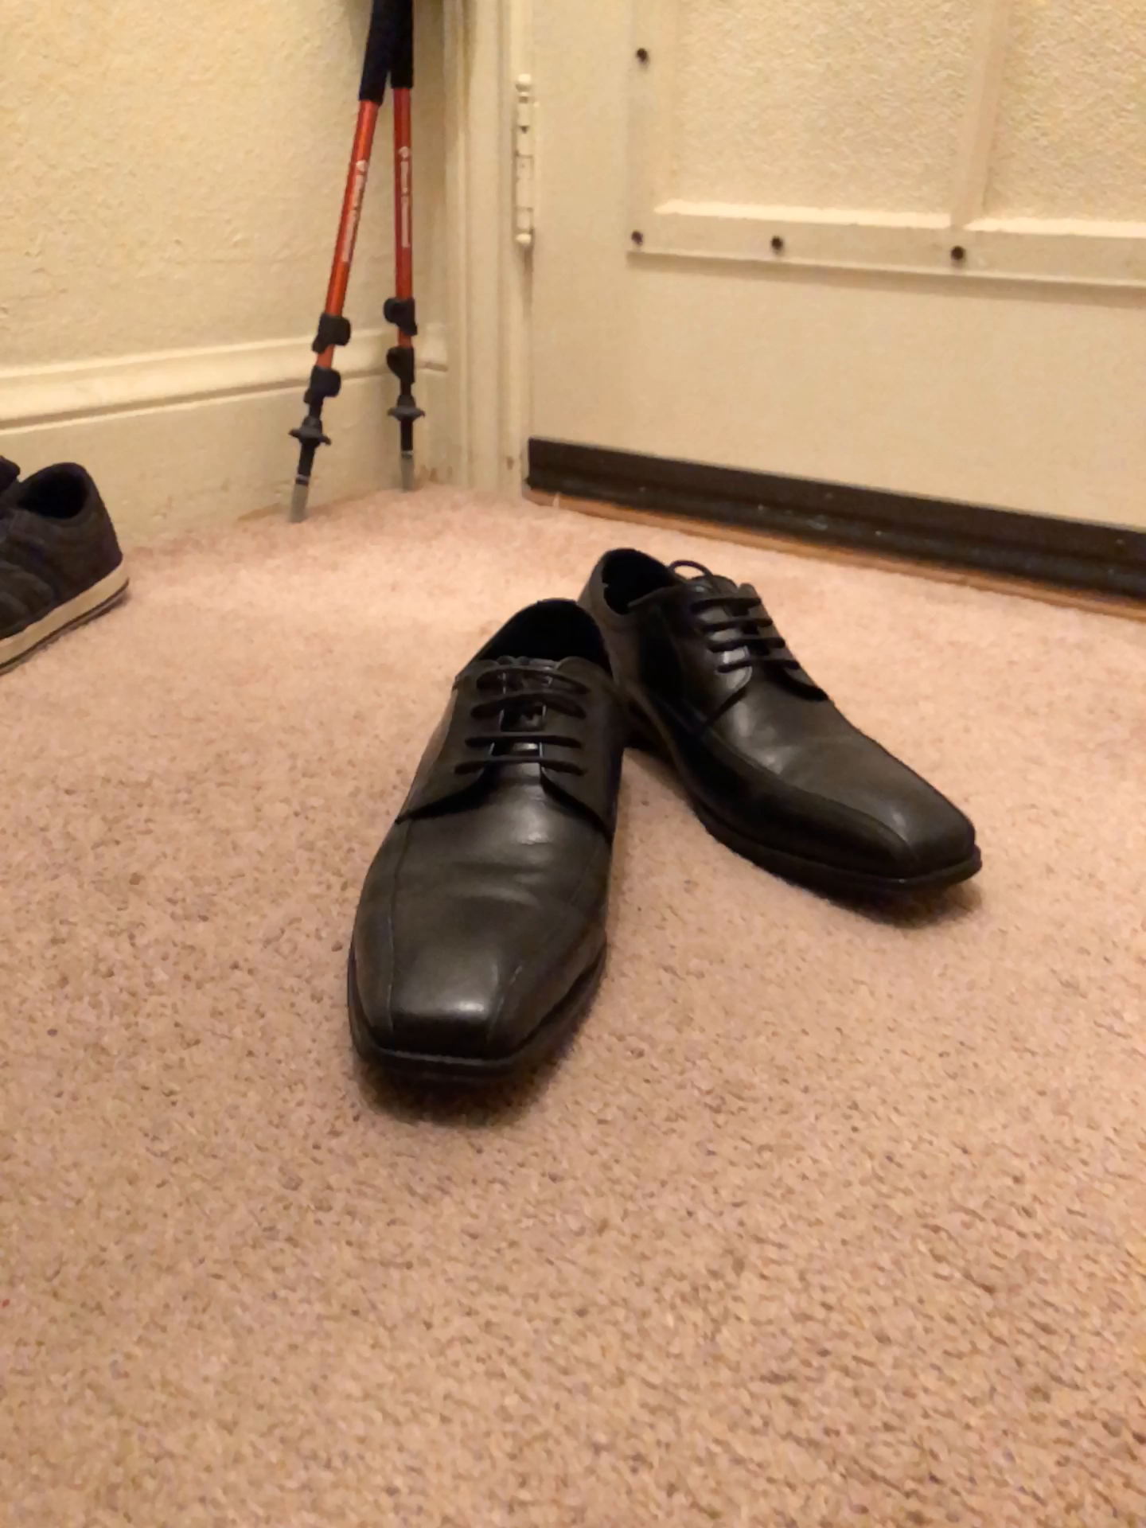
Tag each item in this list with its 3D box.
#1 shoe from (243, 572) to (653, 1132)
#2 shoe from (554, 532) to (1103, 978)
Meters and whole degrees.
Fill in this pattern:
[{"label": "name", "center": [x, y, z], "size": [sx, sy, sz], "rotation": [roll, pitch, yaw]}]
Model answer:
[{"label": "shoe", "center": [-0.033, 0.013, 0.545], "size": [0.110, 0.107, 0.285], "rotation": [4, 25, 6]}, {"label": "shoe", "center": [0.109, -0.026, 0.666], "size": [0.115, 0.110, 0.298], "rotation": [-11, 28, -25]}]
